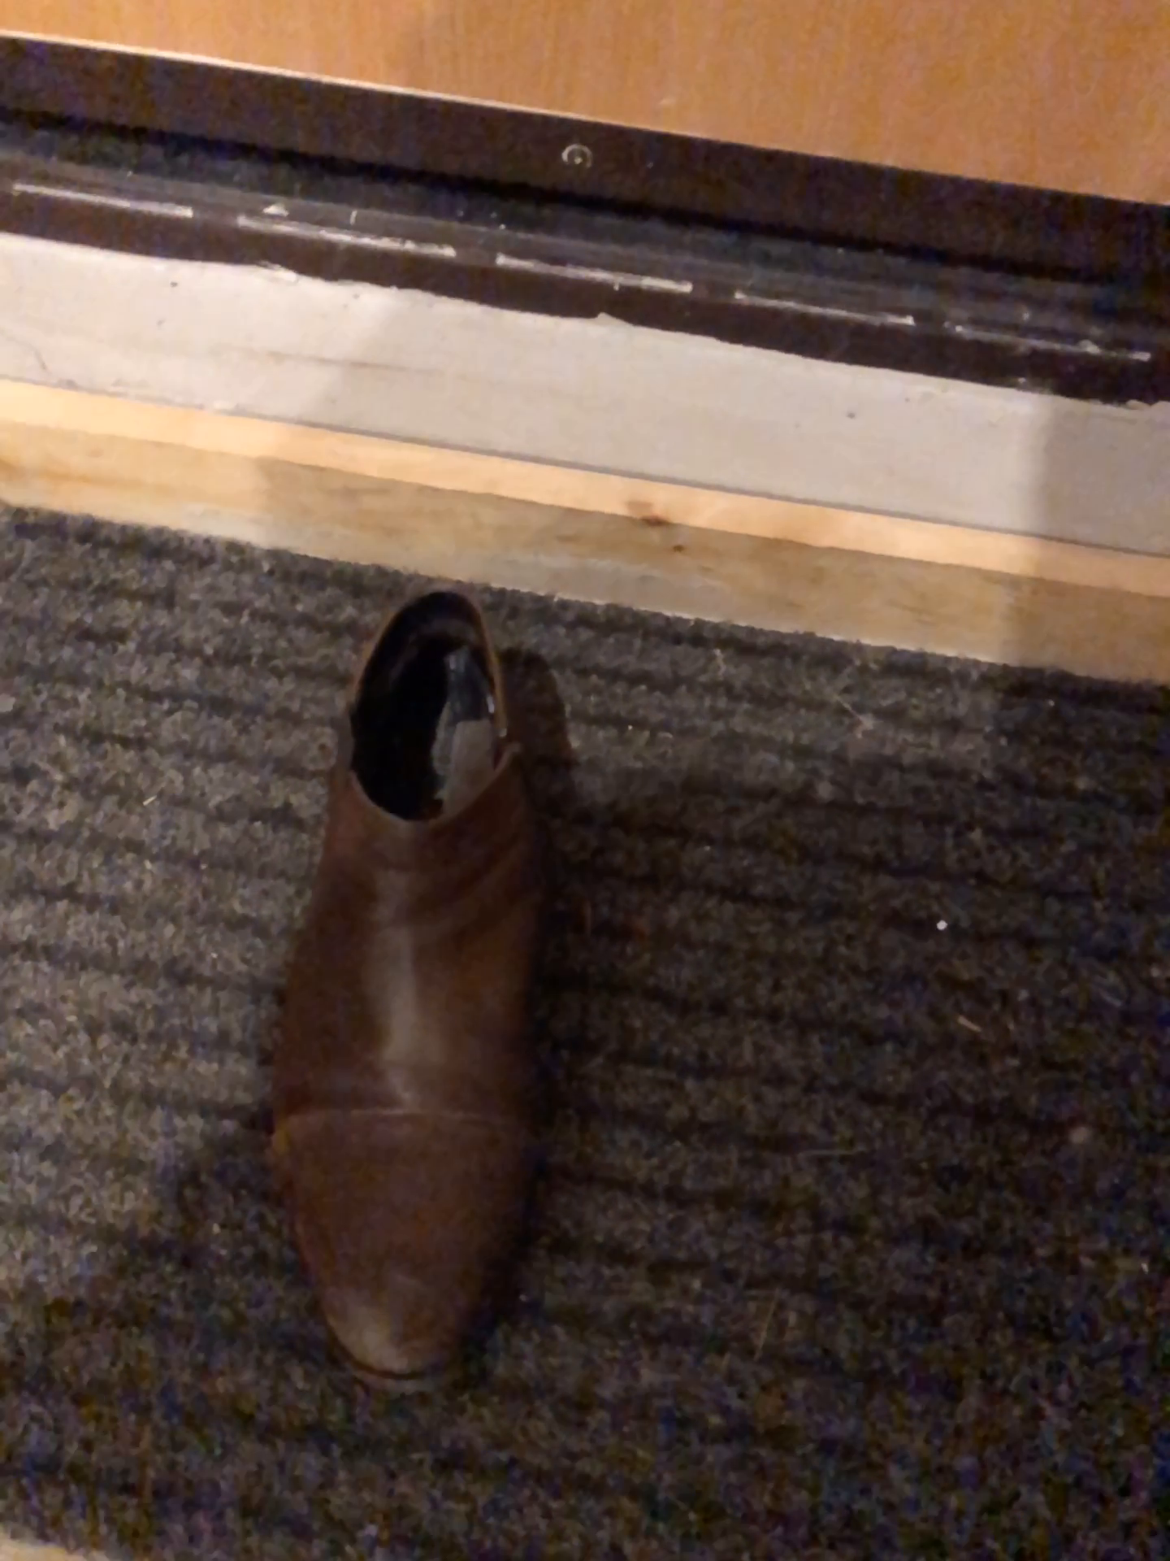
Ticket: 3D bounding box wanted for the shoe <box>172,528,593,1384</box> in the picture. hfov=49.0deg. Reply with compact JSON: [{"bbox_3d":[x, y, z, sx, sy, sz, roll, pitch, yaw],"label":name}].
[{"bbox_3d":[-0.061,0.064,0.503,0.110,0.129,0.301,3,61,-1],"label":"shoe"}]
